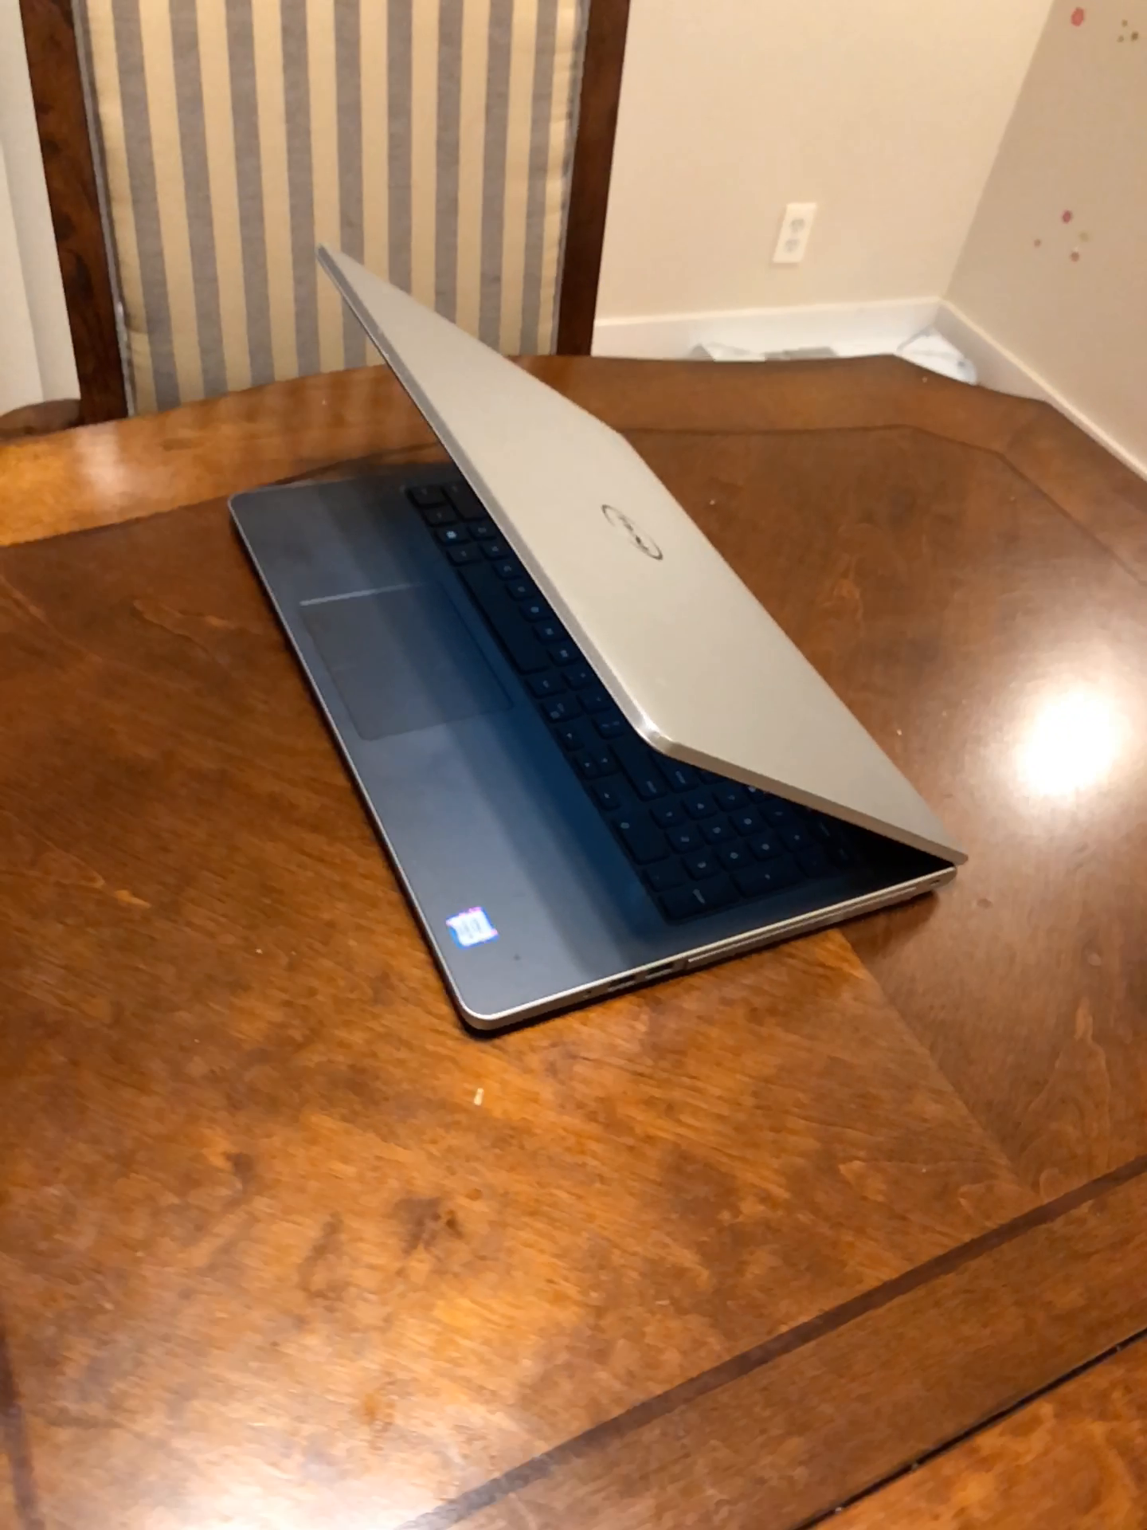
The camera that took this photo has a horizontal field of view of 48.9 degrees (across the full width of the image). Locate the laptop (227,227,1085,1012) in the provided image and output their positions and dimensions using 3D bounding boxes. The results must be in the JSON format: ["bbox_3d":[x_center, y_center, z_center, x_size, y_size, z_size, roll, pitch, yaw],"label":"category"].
[{"bbox_3d":[0.005,-0.103,0.609,0.245,0.147,0.365,-13,50,-23],"label":"laptop"}]
